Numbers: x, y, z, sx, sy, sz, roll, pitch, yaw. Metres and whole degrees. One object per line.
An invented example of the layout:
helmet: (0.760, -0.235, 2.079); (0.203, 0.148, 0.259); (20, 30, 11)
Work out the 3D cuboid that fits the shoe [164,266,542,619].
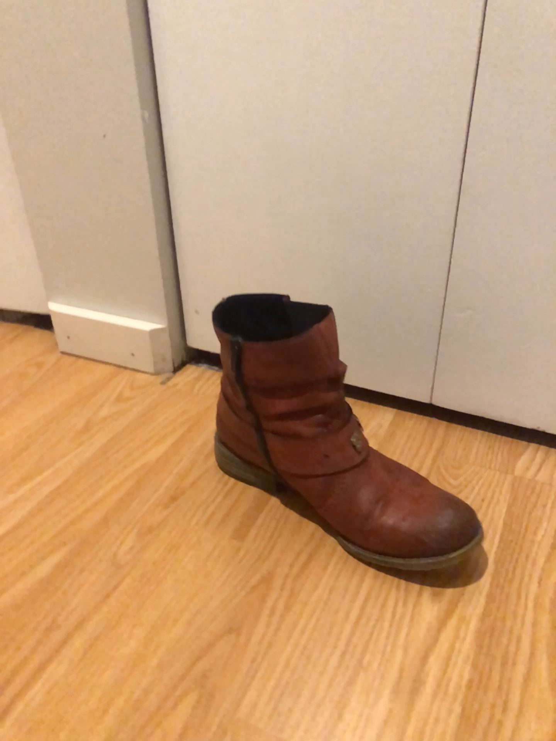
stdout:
shoe: (0.044, 0.041, 0.502); (0.271, 0.169, 0.100); (23, 39, 33)
